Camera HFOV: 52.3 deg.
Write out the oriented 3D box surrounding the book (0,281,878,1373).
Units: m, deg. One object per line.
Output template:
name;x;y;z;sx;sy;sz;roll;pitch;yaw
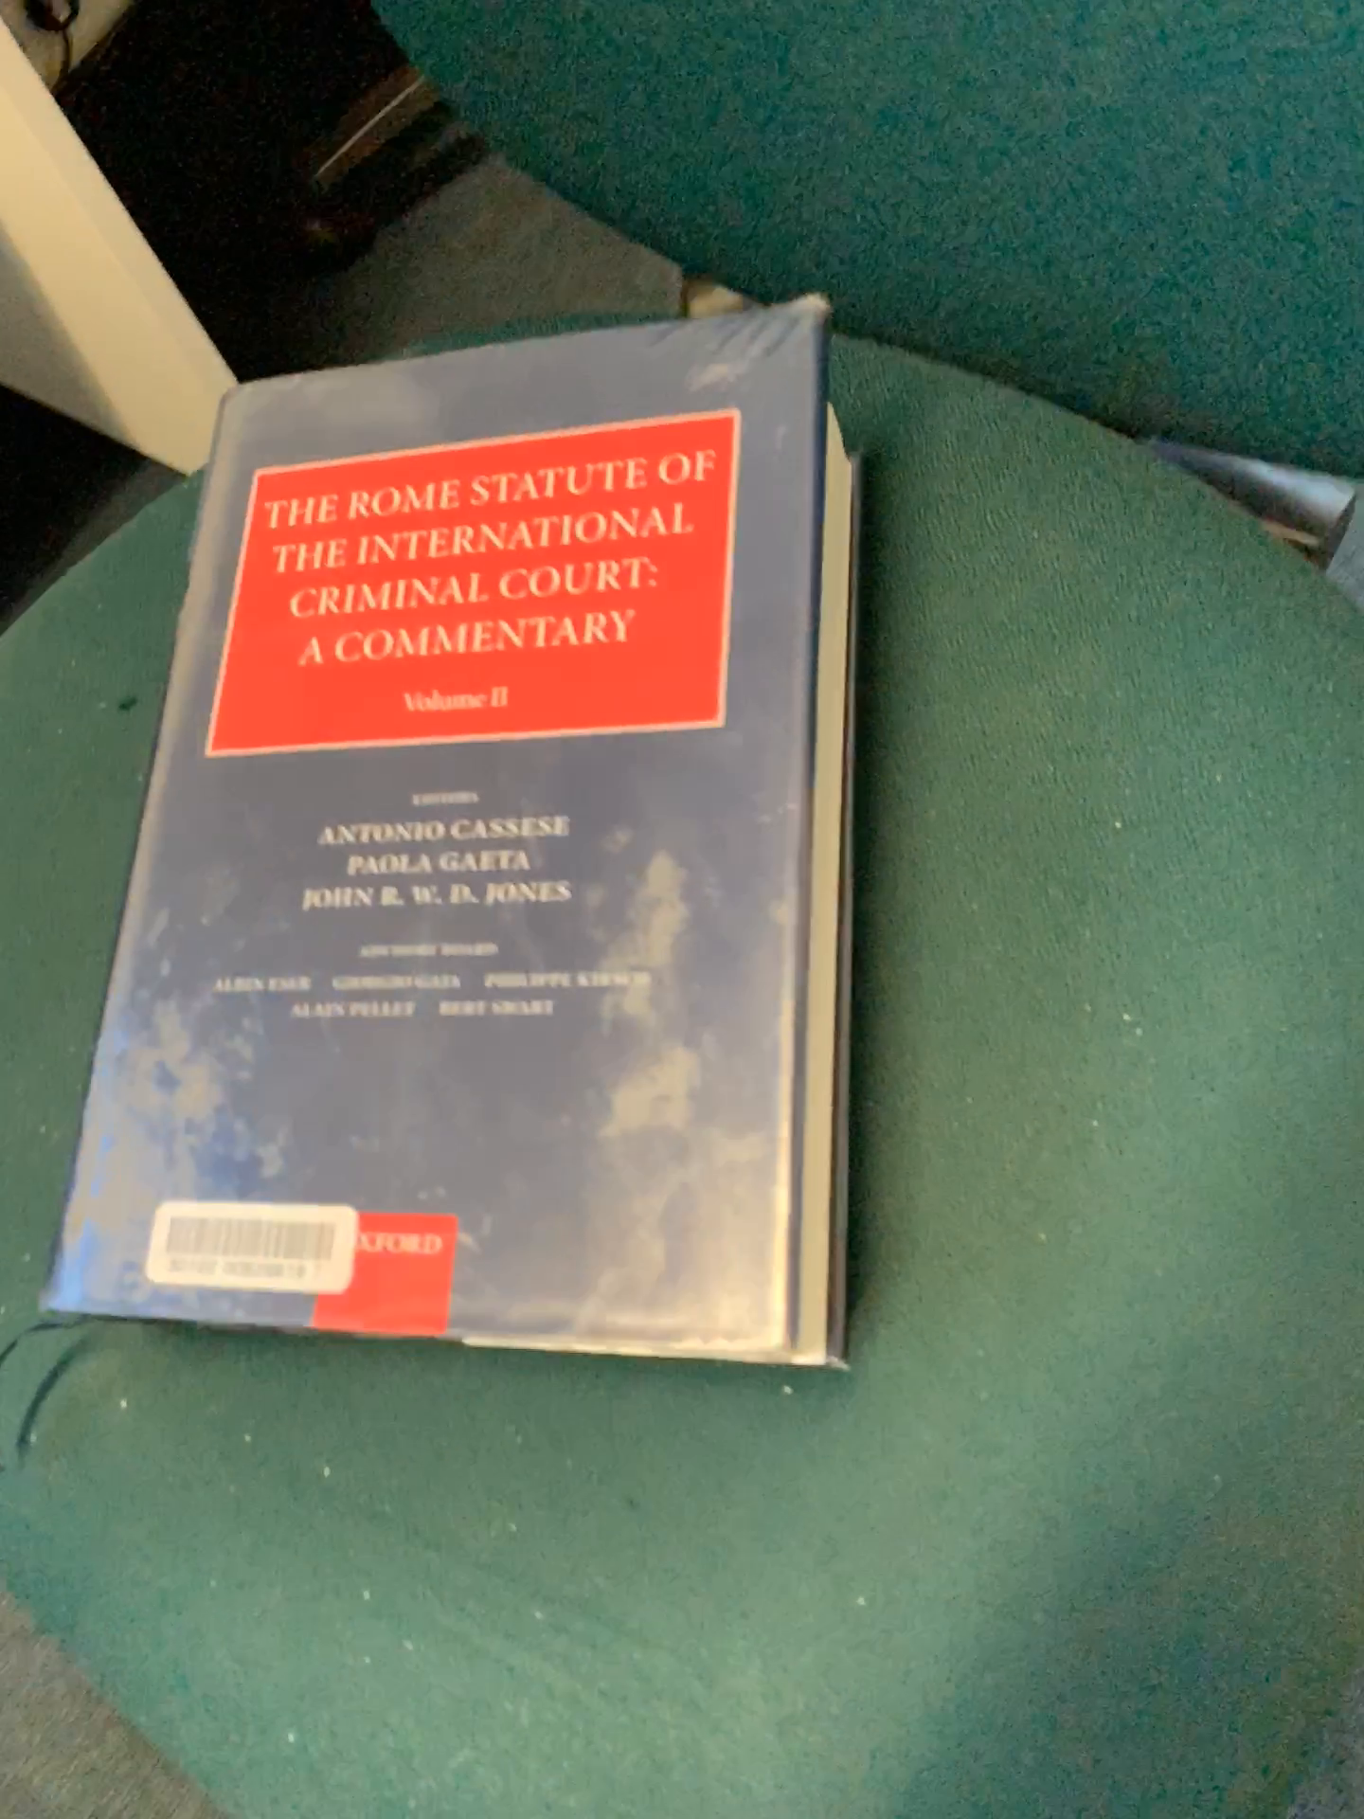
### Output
book;-0.050;-0.023;0.359;0.188;0.070;0.256;-1;70;15
